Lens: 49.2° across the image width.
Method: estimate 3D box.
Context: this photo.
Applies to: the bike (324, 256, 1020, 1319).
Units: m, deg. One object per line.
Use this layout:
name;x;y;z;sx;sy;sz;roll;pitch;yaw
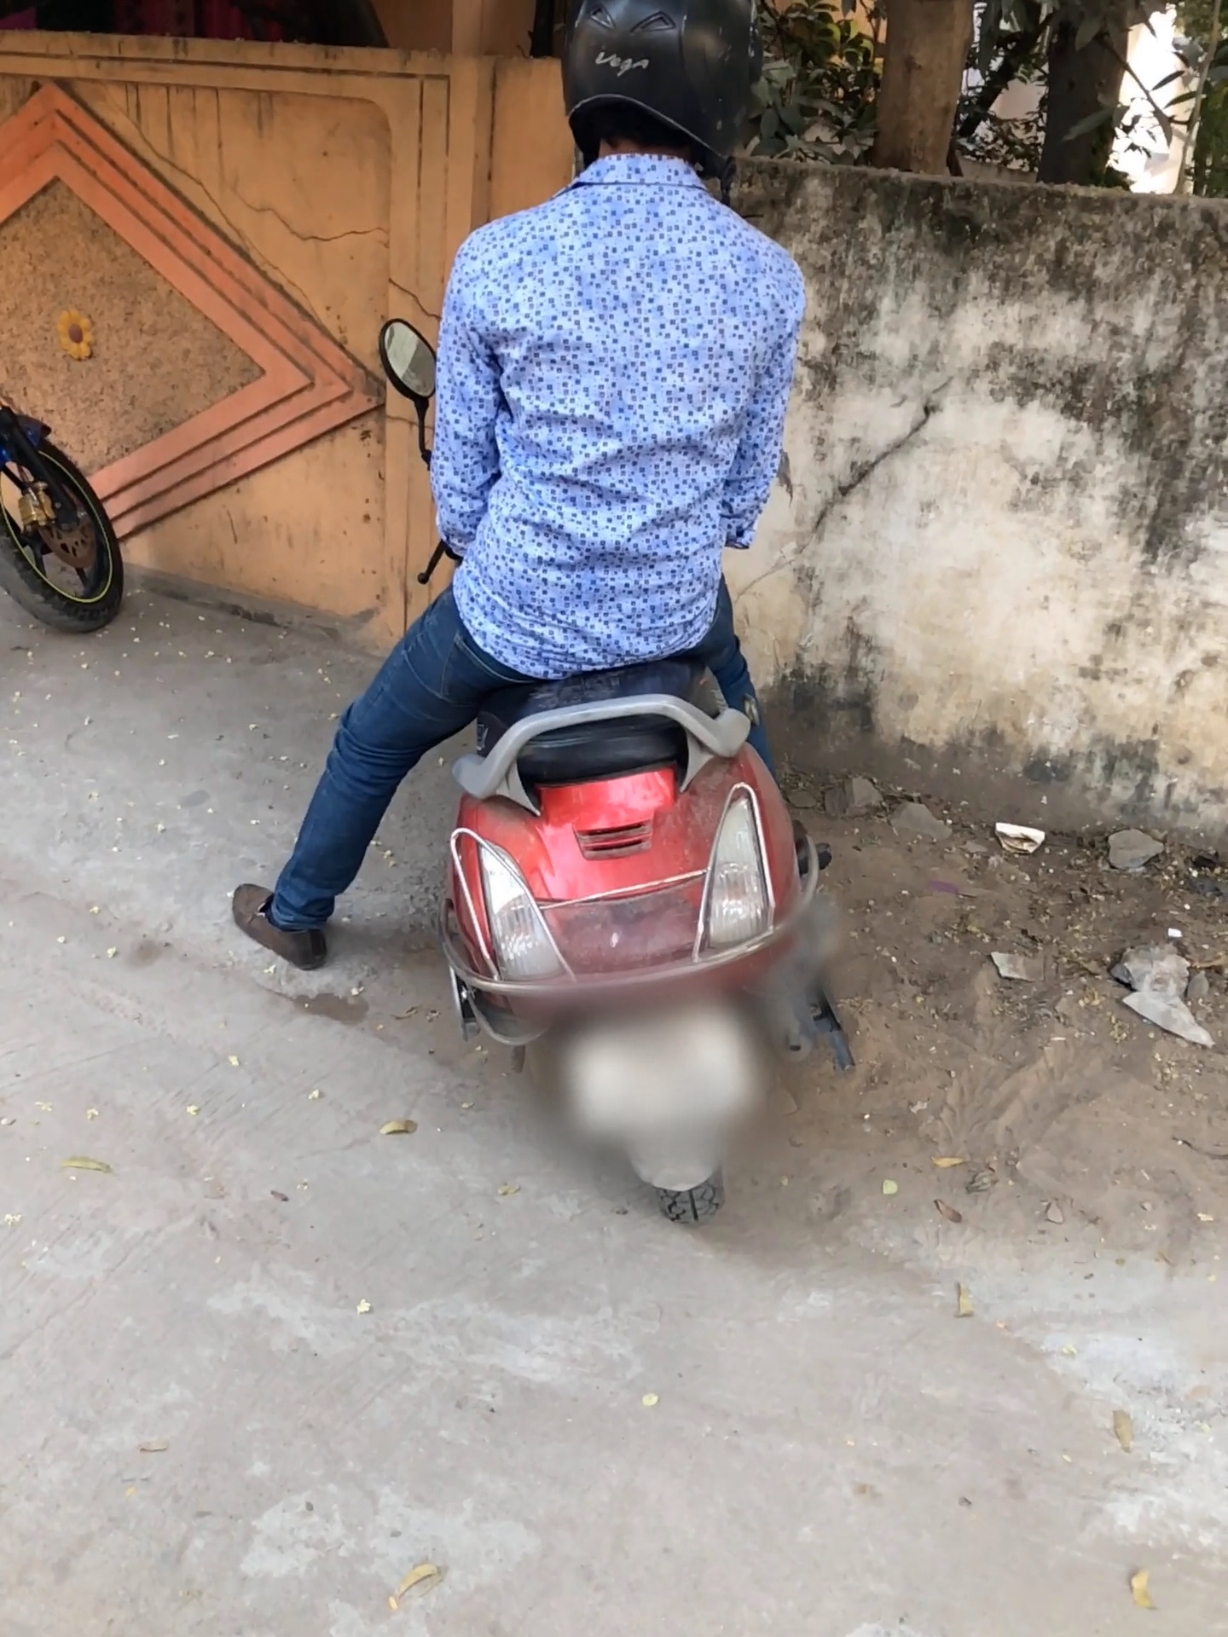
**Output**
bike;-0.116;-0.203;2.287;0.722;1.165;1.509;0;28;-12
